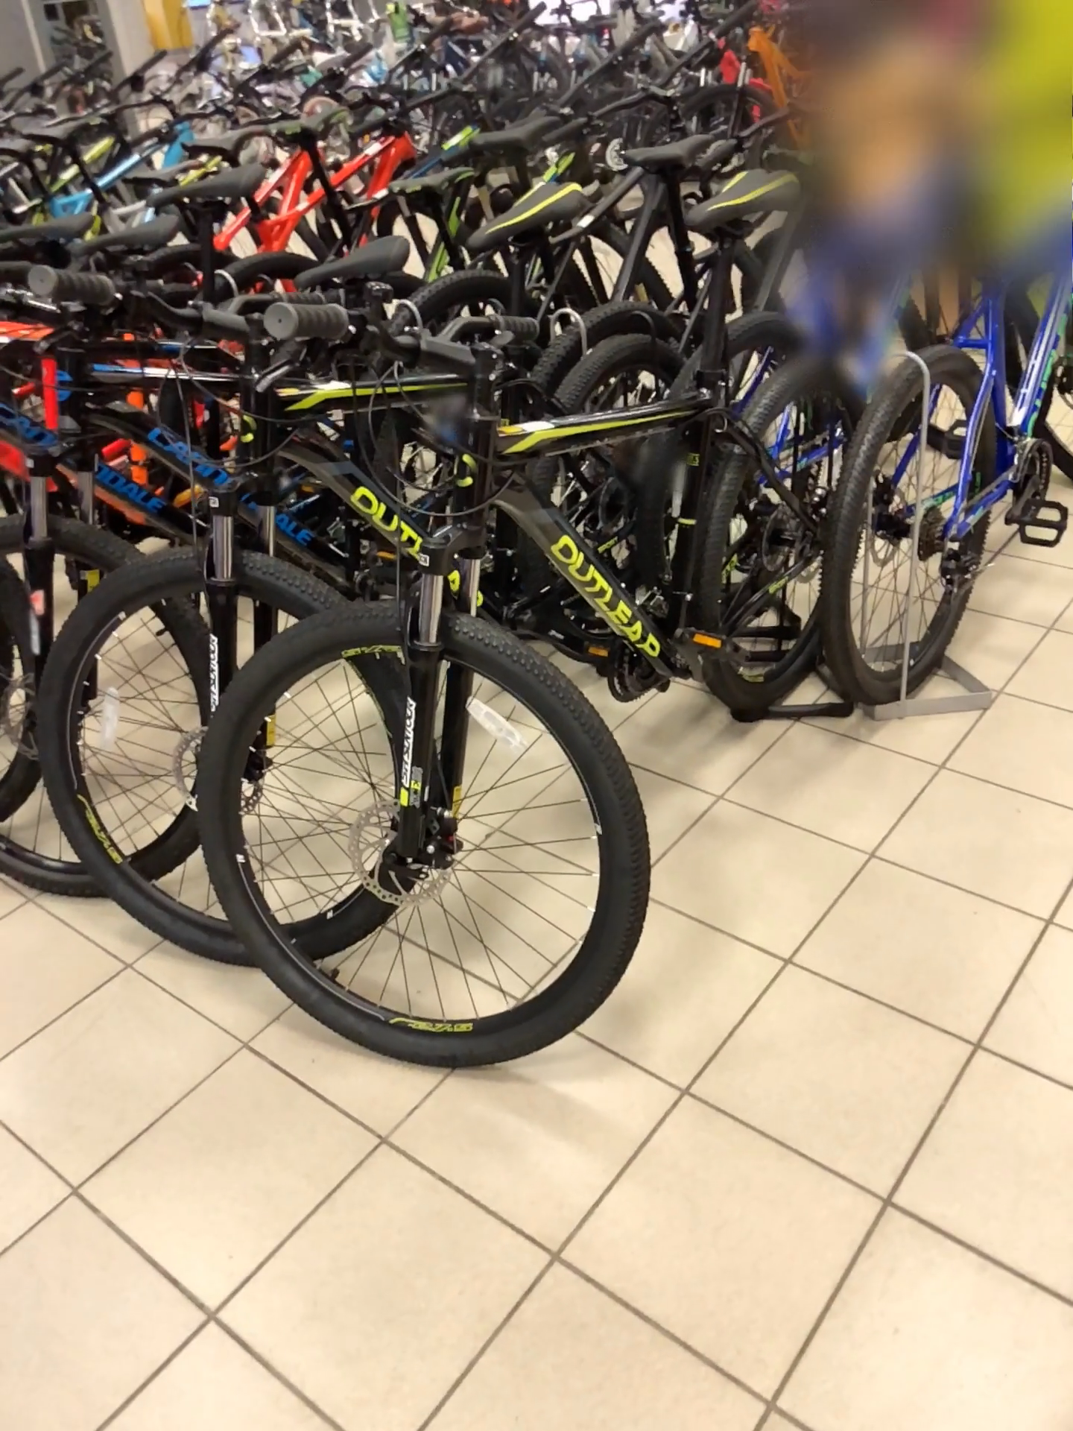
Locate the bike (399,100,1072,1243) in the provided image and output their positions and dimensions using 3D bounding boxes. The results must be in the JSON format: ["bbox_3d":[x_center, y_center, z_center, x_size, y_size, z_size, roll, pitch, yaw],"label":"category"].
[{"bbox_3d":[0.408,-0.282,1.870,0.662,1.044,1.359,12,37,26],"label":"bike"}]
